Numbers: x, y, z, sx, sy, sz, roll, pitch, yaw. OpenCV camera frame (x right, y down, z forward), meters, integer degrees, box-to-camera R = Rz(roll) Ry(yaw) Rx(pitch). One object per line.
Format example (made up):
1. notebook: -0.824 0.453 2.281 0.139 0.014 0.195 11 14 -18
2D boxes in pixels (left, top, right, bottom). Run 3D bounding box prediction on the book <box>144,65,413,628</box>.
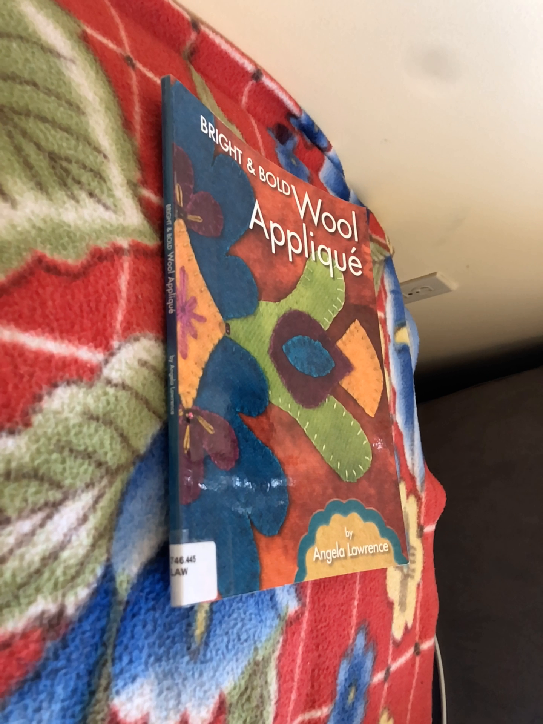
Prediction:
1. book: 0.015 -0.002 0.363 0.221 0.020 0.264 16 65 -53
